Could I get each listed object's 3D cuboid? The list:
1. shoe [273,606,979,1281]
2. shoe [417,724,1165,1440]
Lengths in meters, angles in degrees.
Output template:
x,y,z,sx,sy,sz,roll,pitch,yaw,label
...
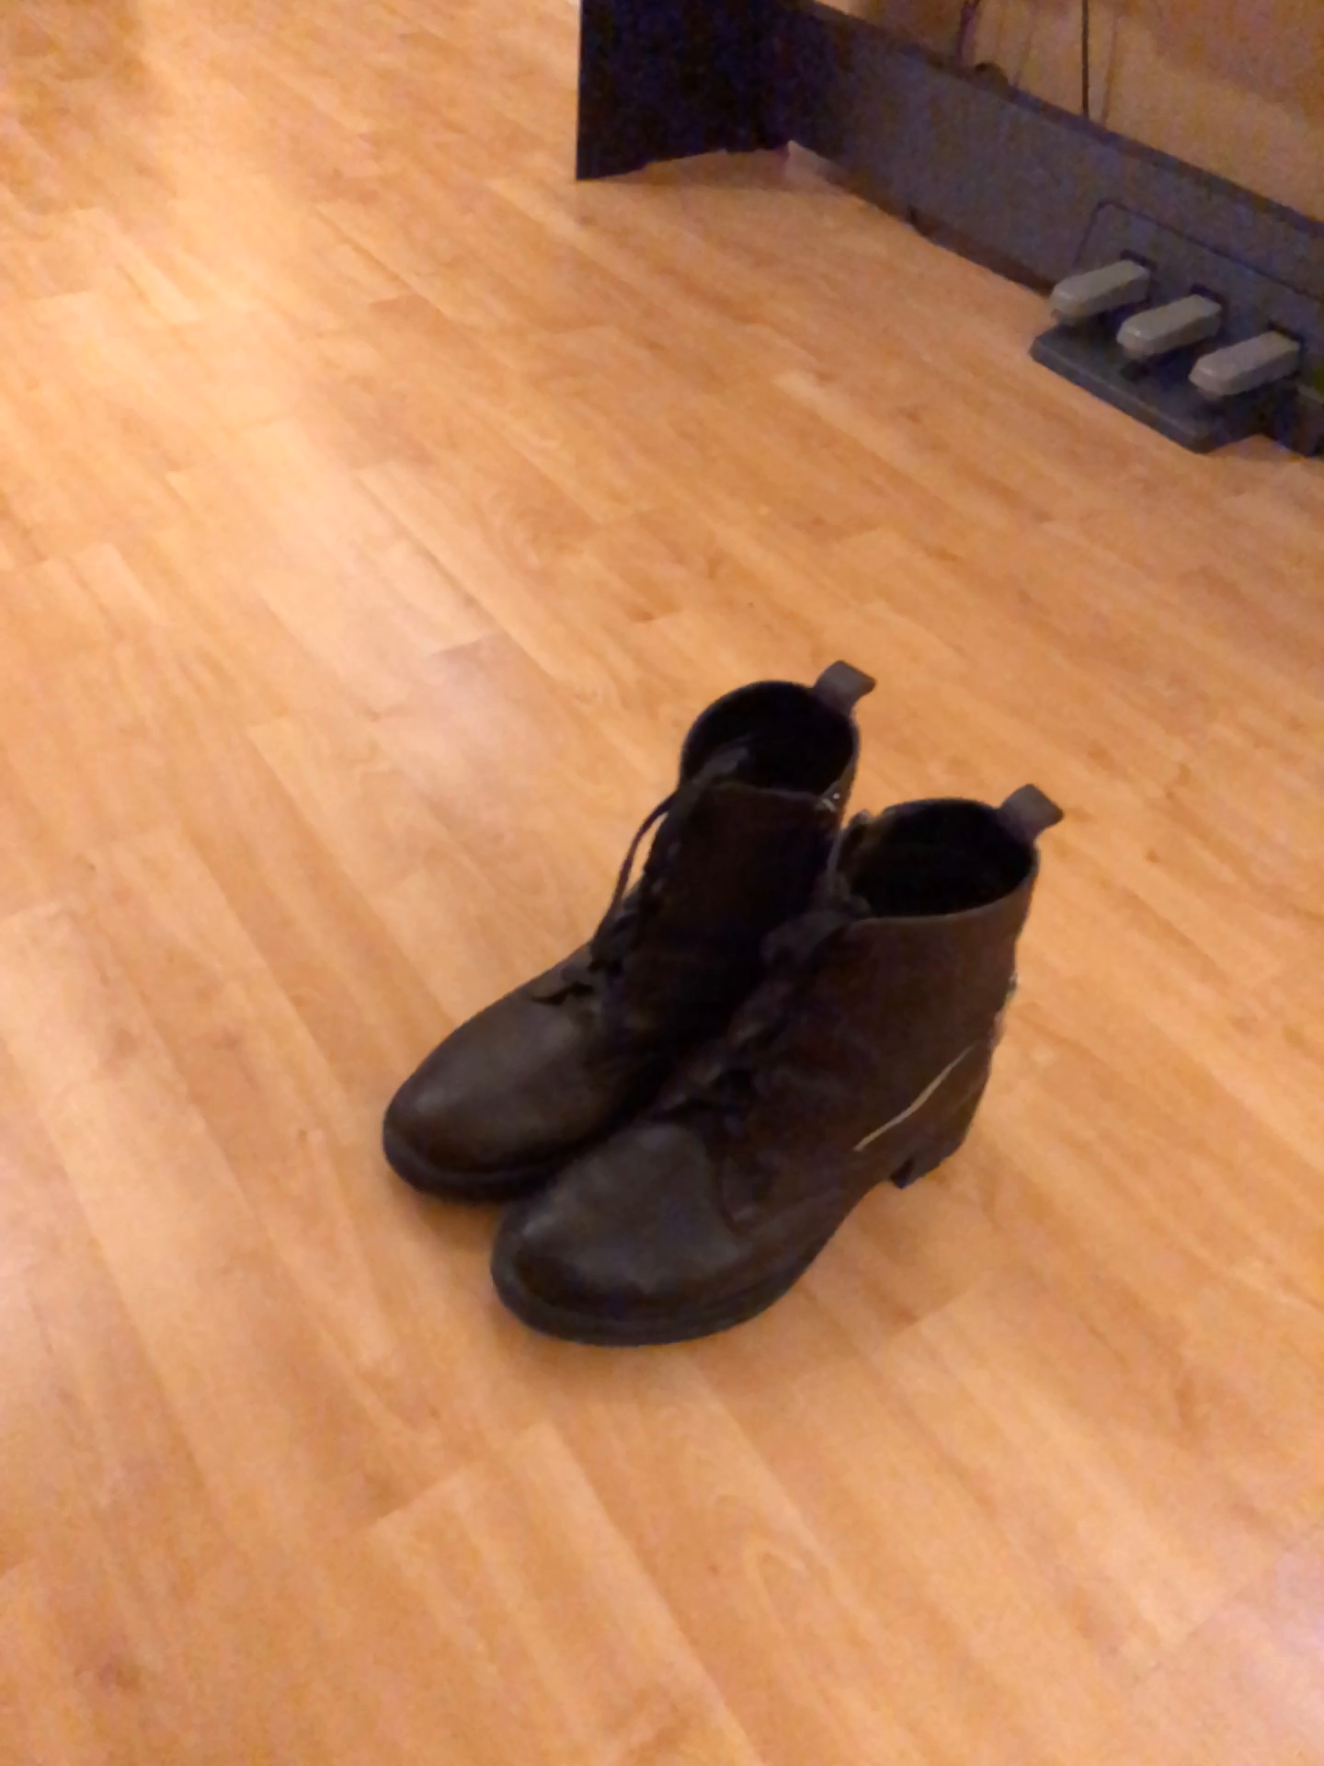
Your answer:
x,y,z,sx,sy,sz,roll,pitch,yaw,label
-0.012,0.020,0.643,0.270,0.179,0.110,-26,52,-28,shoe
0.049,0.076,0.604,0.270,0.179,0.110,-23,51,-26,shoe
